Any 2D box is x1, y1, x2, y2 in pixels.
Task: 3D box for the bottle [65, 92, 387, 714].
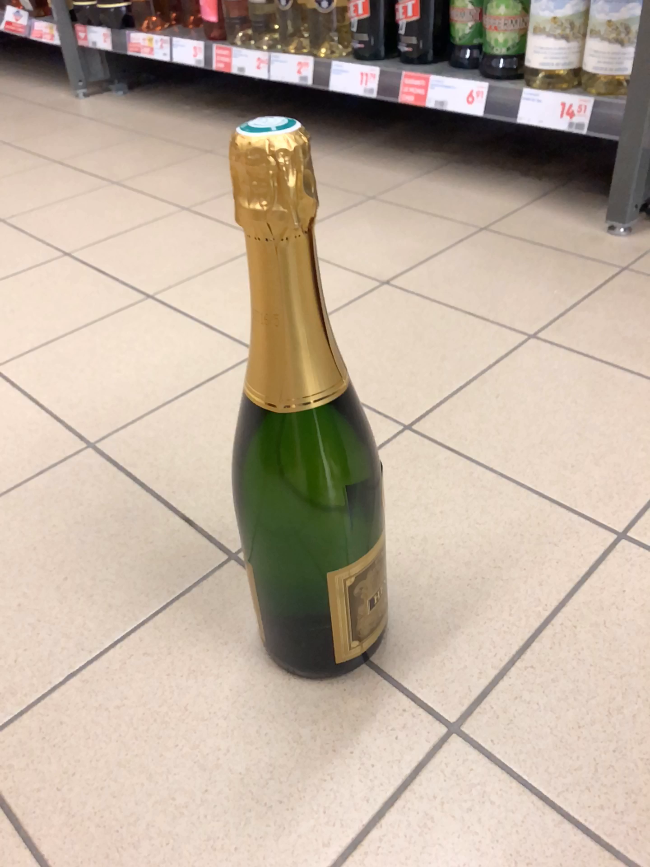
[{"bbox_3d":[-0.022,0.009,0.361,0.100,0.308,0.101,-3,37,2],"label":"bottle"}]
